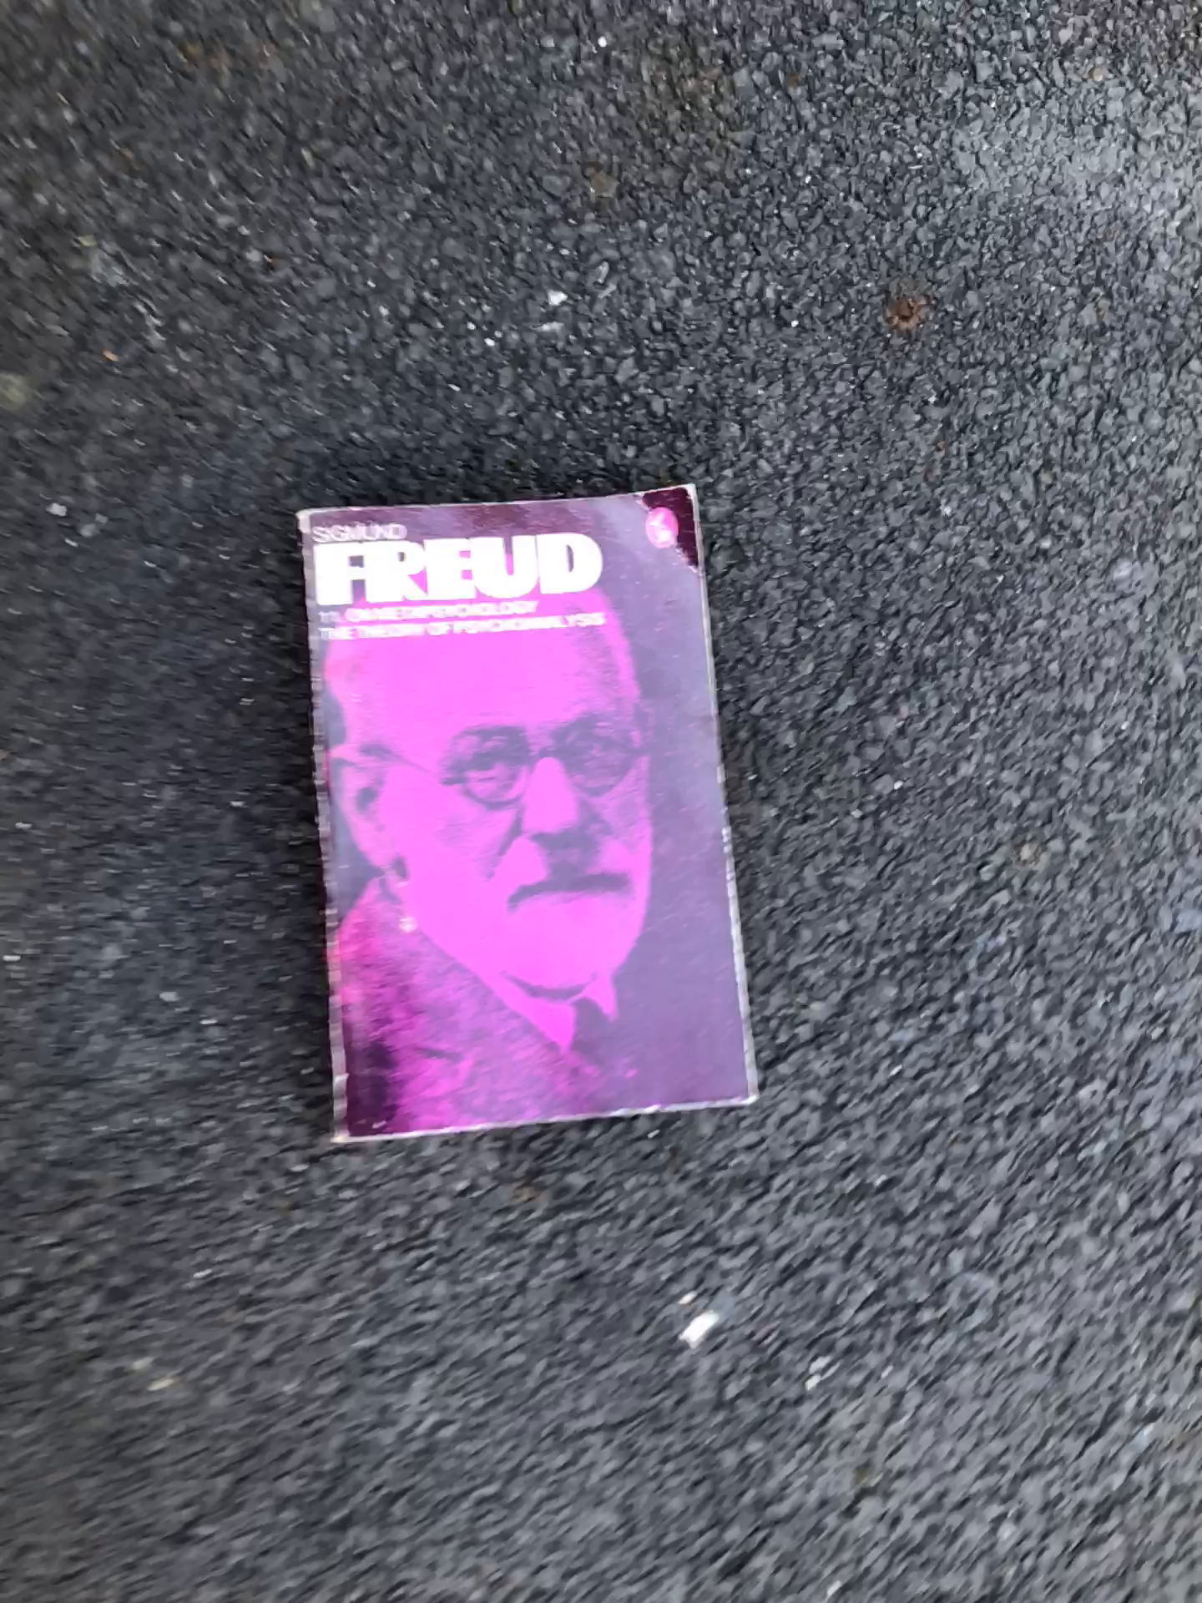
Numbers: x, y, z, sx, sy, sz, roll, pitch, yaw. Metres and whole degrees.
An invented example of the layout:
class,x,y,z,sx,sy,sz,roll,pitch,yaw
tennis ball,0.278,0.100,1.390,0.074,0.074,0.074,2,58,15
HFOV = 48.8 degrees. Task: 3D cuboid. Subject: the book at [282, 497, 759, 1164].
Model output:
class,x,y,z,sx,sy,sz,roll,pitch,yaw
book,-0.027,0.006,0.415,0.131,0.031,0.194,-4,82,-7
